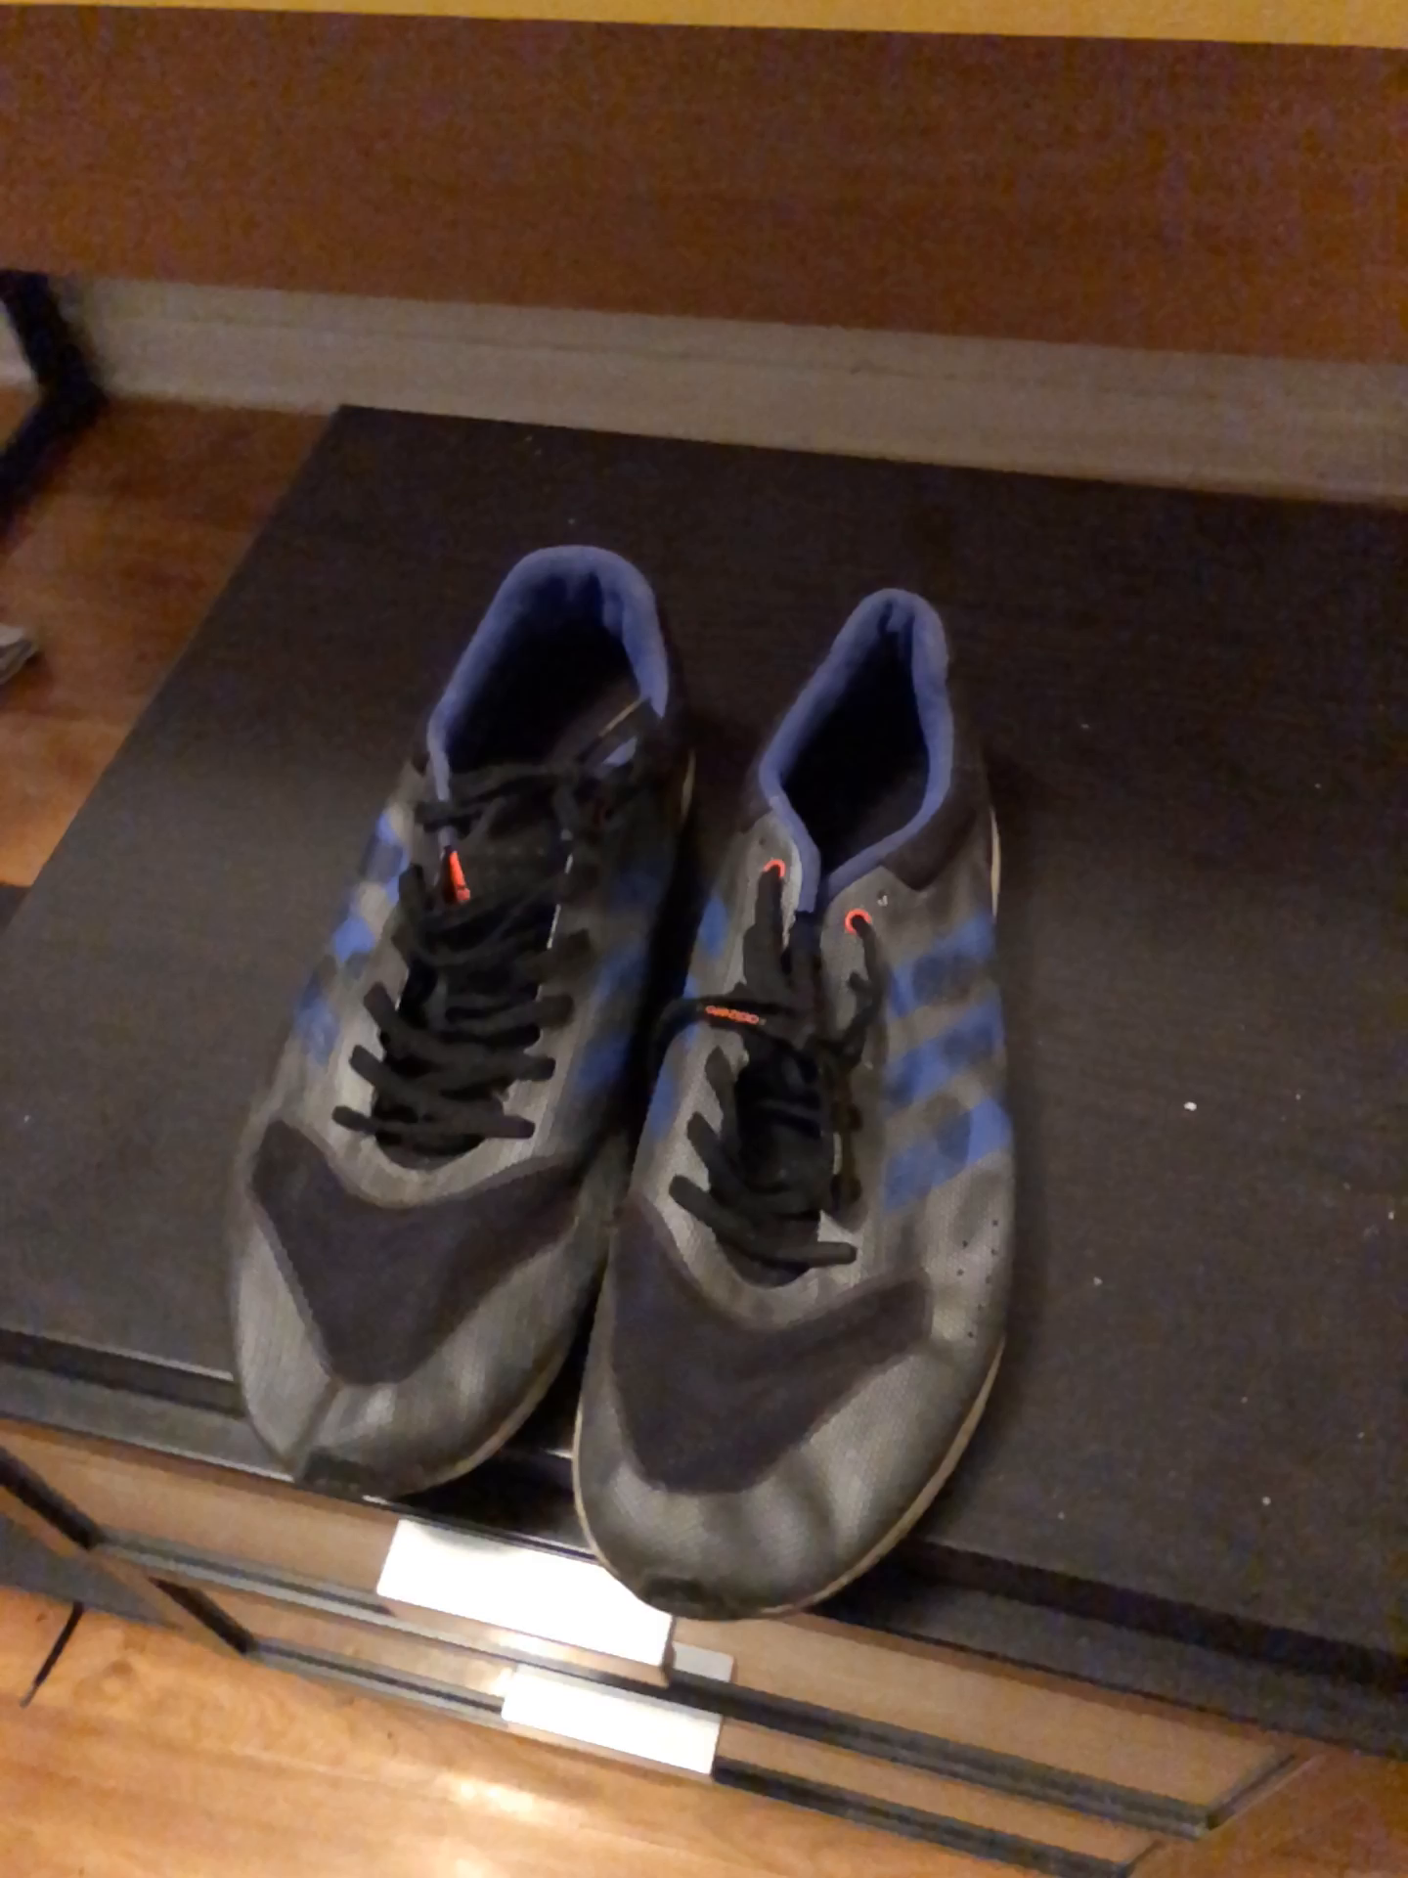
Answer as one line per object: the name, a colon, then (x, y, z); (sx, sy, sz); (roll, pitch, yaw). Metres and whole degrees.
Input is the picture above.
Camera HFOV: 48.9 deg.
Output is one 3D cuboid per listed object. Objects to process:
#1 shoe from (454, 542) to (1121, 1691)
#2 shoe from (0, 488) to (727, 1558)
shoe: (0.040, 0.021, 0.418); (0.110, 0.070, 0.302); (9, 53, 10)
shoe: (-0.079, 0.002, 0.410); (0.110, 0.079, 0.272); (9, 53, 10)
